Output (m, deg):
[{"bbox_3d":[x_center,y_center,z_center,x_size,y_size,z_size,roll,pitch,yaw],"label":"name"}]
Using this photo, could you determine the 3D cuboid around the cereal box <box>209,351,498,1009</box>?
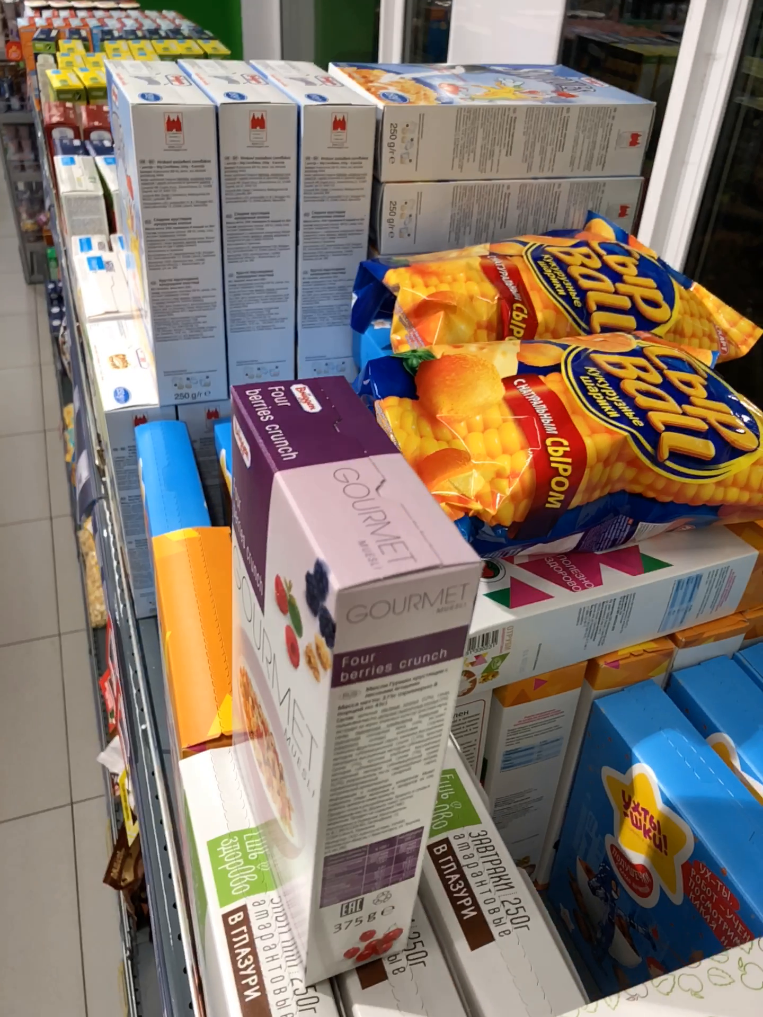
[{"bbox_3d":[-0.028,0.069,0.339,0.050,0.219,0.141,-8,37,-21],"label":"cereal box"}]
